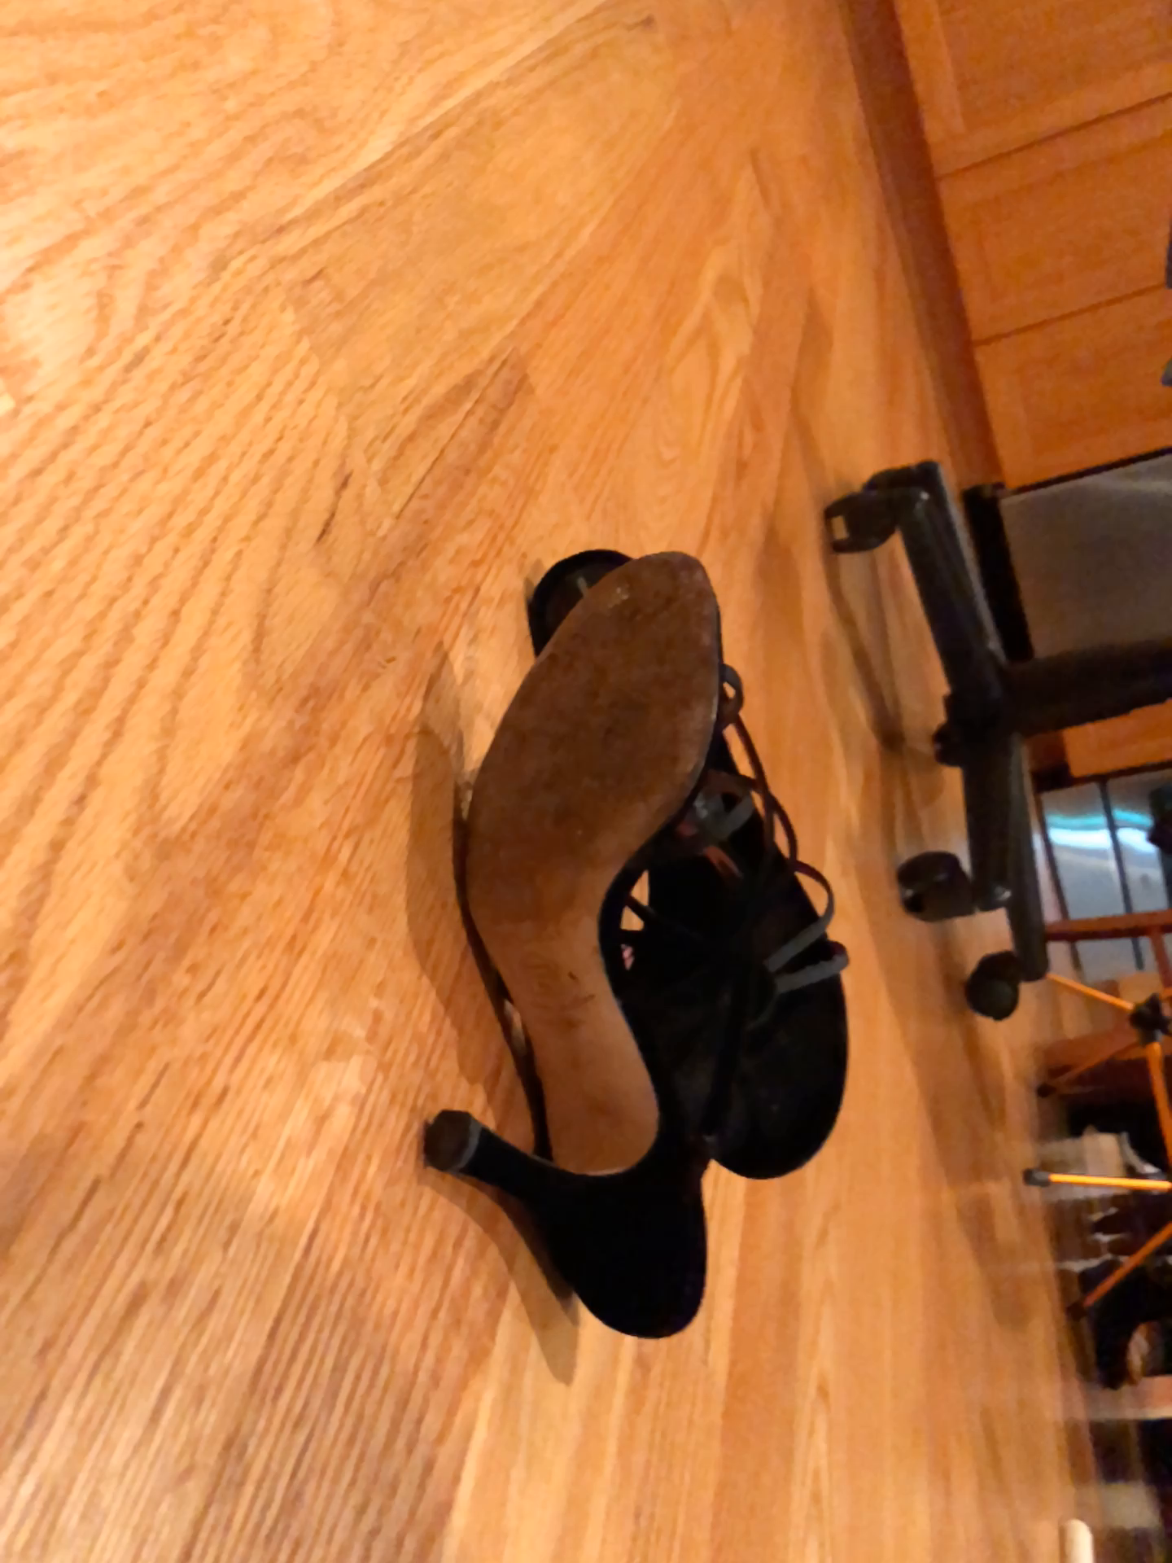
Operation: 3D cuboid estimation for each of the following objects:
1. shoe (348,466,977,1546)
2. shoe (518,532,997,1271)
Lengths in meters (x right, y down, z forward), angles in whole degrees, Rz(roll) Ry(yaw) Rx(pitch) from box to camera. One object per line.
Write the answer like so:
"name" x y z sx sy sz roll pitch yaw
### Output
"shoe" 0.022 0.055 0.338 0.082 0.104 0.235 7 72 -70
"shoe" 0.063 0.040 0.451 0.102 0.104 0.215 2 76 -68
